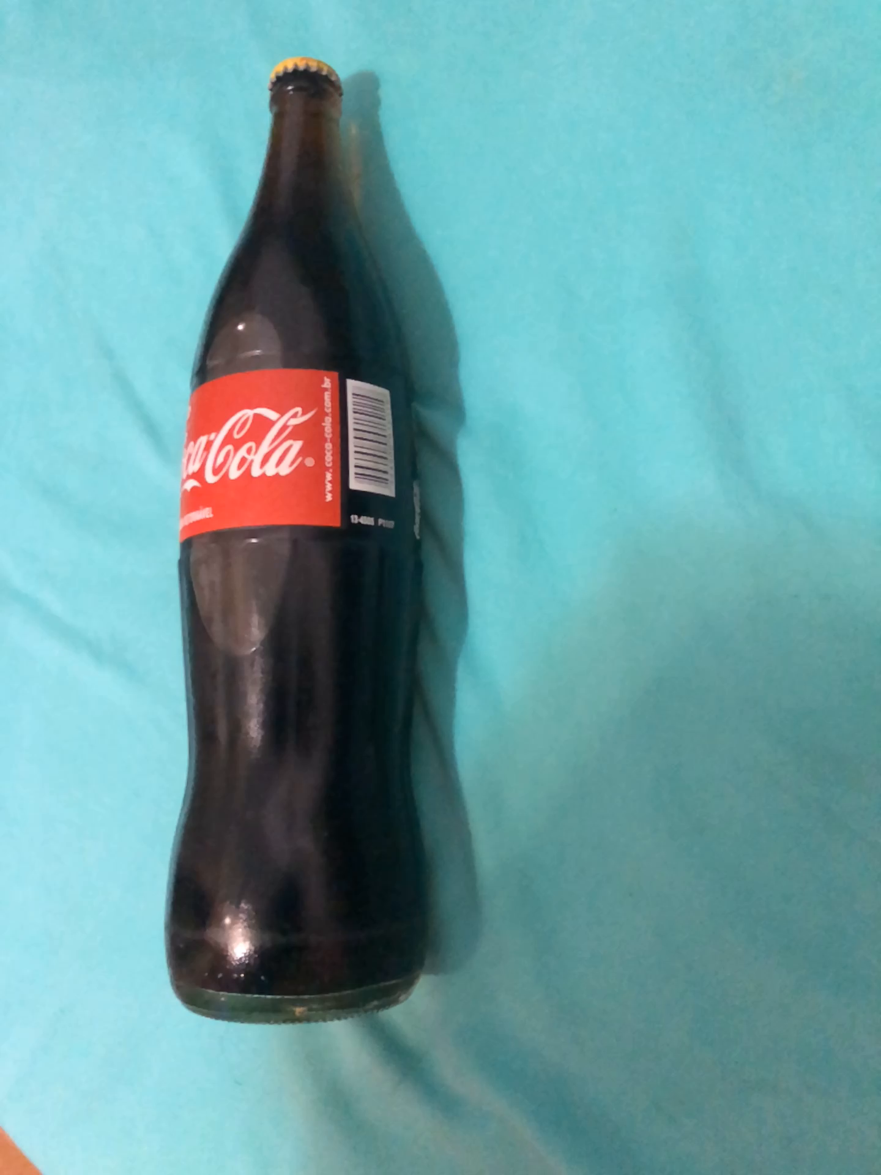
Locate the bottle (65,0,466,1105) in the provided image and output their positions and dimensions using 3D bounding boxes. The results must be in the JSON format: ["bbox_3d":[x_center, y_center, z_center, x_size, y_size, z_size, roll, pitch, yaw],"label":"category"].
[{"bbox_3d":[-0.053,-0.036,0.334,0.100,0.070,0.360,-6,78,26],"label":"bottle"}]
